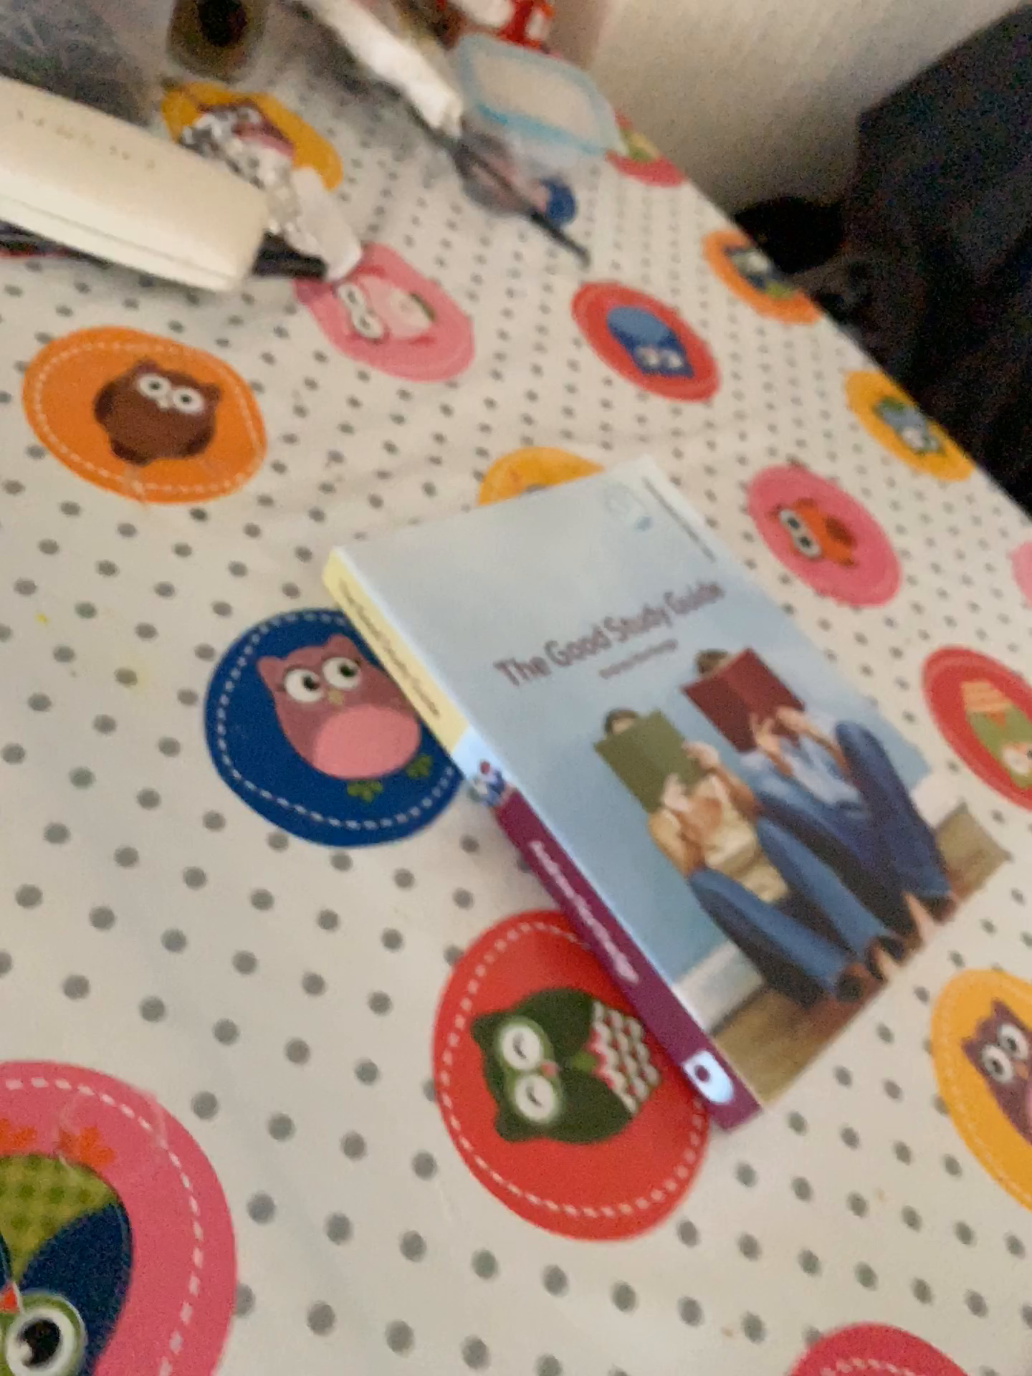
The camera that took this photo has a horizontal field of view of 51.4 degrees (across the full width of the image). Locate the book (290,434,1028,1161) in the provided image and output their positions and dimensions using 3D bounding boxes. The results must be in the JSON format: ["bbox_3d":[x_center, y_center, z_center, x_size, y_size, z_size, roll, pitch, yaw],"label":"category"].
[{"bbox_3d":[0.066,0.014,0.444,0.212,0.030,0.260,-23,69,-40],"label":"book"}]
